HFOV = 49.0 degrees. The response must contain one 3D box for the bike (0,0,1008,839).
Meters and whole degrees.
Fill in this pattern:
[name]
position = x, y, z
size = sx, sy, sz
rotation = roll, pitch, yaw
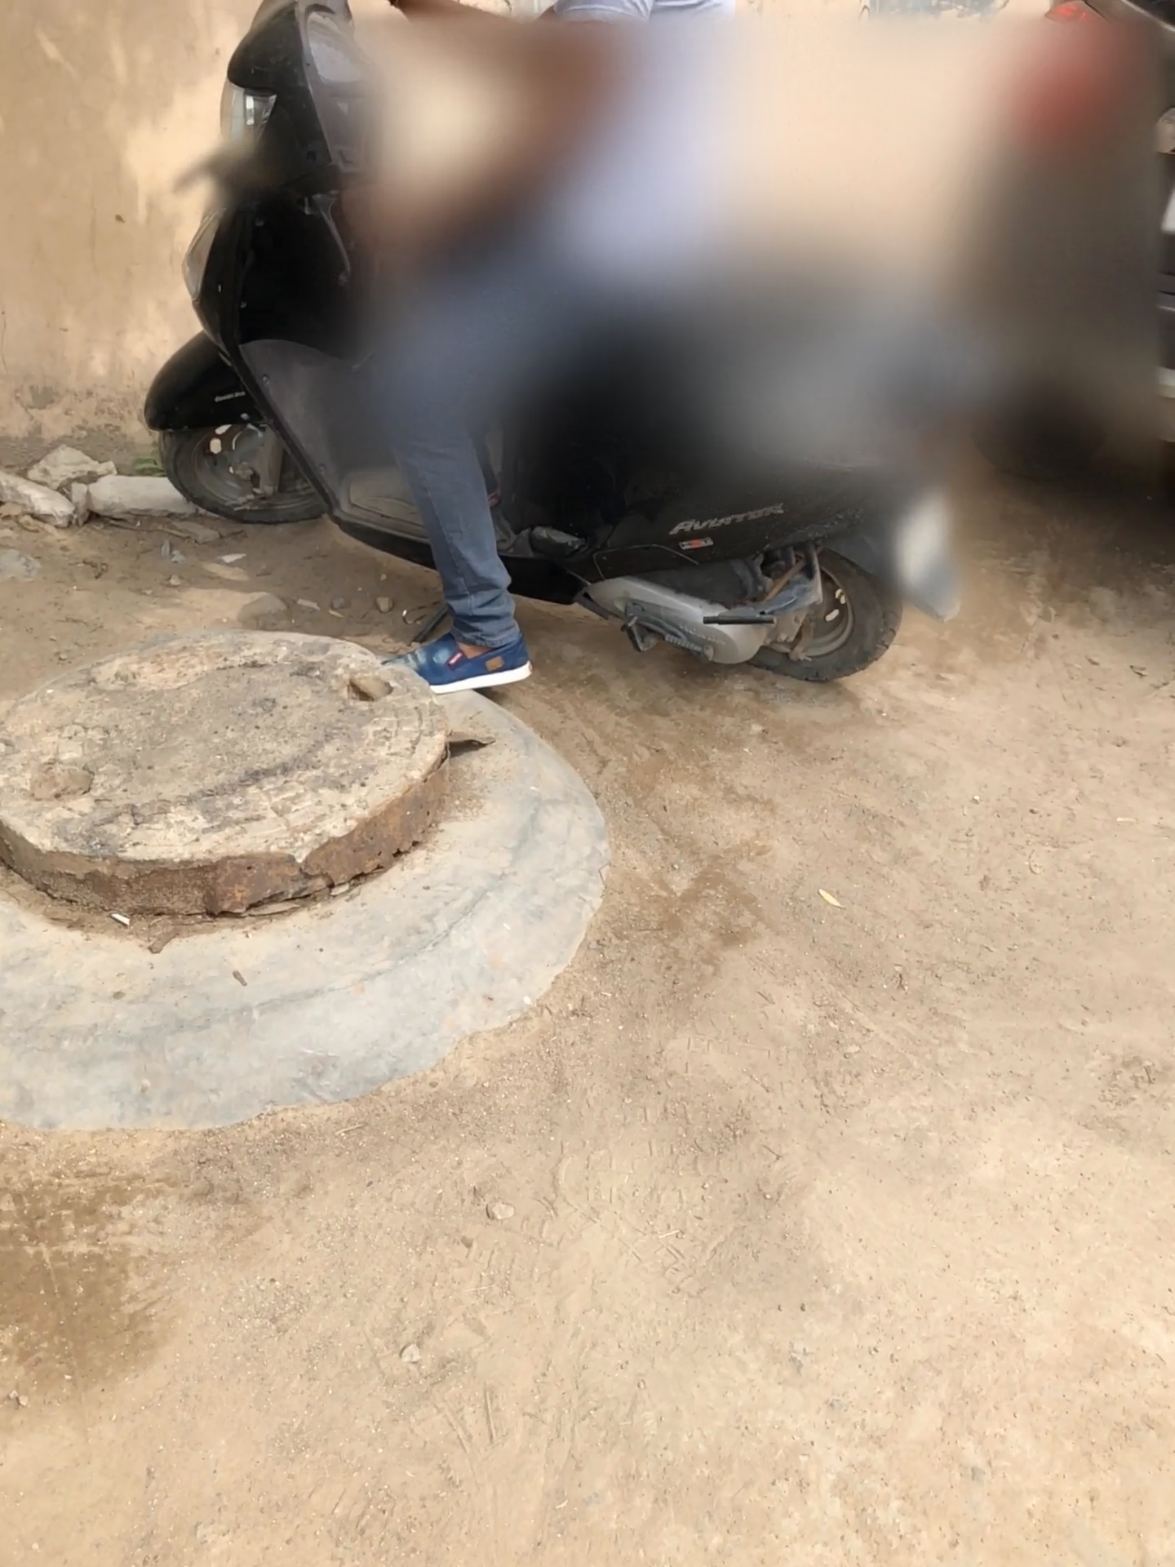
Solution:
[bike]
position = -0.243, -0.796, 2.306
size = 1.650, 1.228, 0.656
rotation = 14, 33, 17
